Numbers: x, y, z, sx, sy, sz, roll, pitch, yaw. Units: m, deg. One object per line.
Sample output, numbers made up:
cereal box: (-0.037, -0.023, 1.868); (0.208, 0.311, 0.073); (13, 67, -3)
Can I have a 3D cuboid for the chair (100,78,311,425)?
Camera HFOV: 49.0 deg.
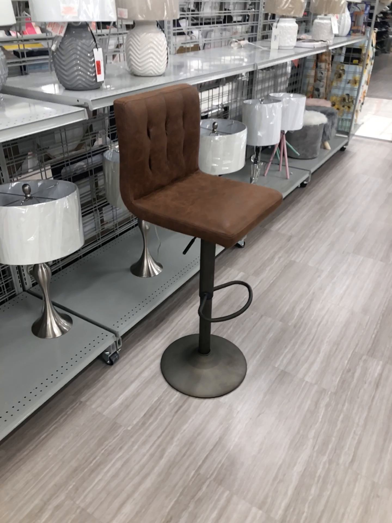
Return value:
chair: (0.037, -0.034, 1.599); (0.468, 1.102, 0.476); (19, 35, 26)
